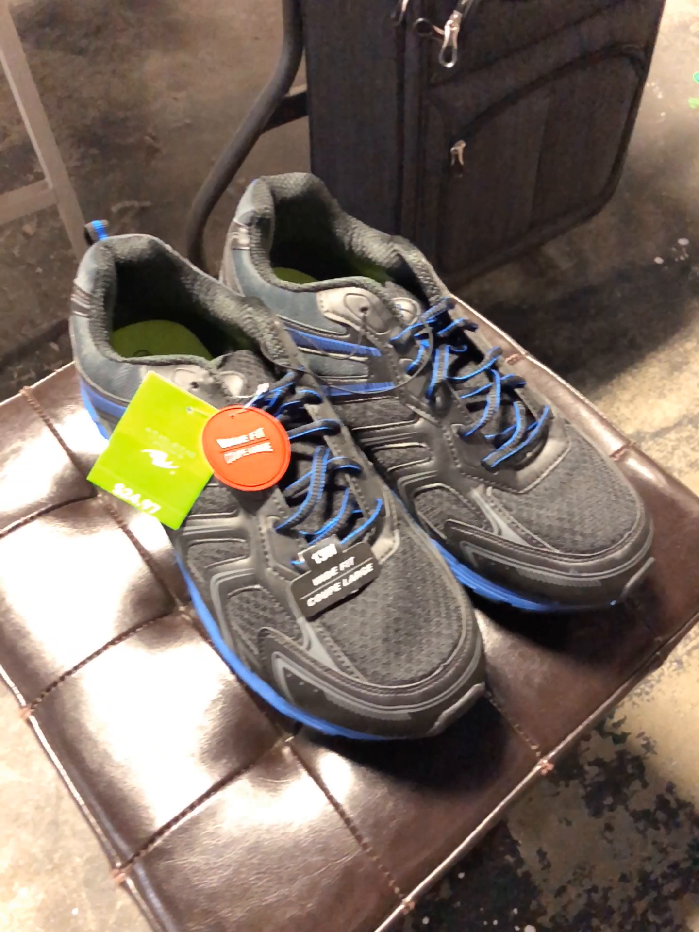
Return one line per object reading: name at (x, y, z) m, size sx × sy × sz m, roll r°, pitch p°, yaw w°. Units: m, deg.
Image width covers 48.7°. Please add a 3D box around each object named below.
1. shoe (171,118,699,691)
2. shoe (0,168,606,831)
shoe at (0.053, -0.050, 0.428) m, size 0.130 × 0.099 × 0.311 m, roll -37°, pitch 66°, yaw -22°
shoe at (-0.040, 0.004, 0.370) m, size 0.120 × 0.119 × 0.281 m, roll -32°, pitch 64°, yaw -20°
